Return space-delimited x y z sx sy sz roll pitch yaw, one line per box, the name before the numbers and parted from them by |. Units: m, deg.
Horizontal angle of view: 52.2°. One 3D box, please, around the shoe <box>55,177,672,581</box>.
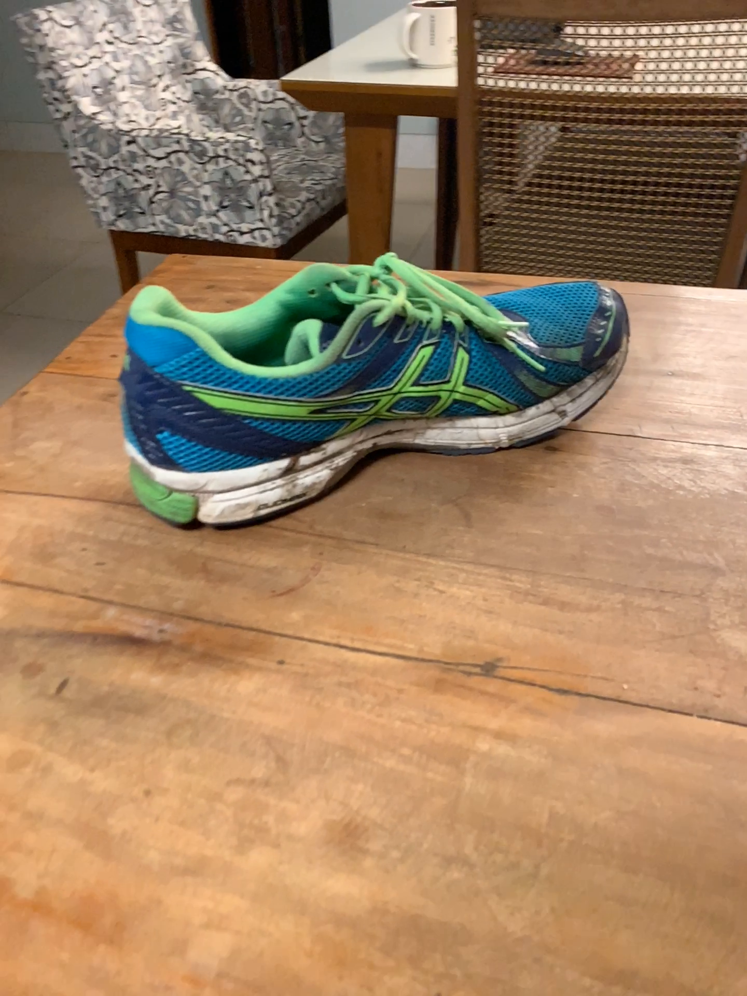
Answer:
shoe | -0.001 -0.079 0.432 0.300 0.119 0.111 -18 42 -16
